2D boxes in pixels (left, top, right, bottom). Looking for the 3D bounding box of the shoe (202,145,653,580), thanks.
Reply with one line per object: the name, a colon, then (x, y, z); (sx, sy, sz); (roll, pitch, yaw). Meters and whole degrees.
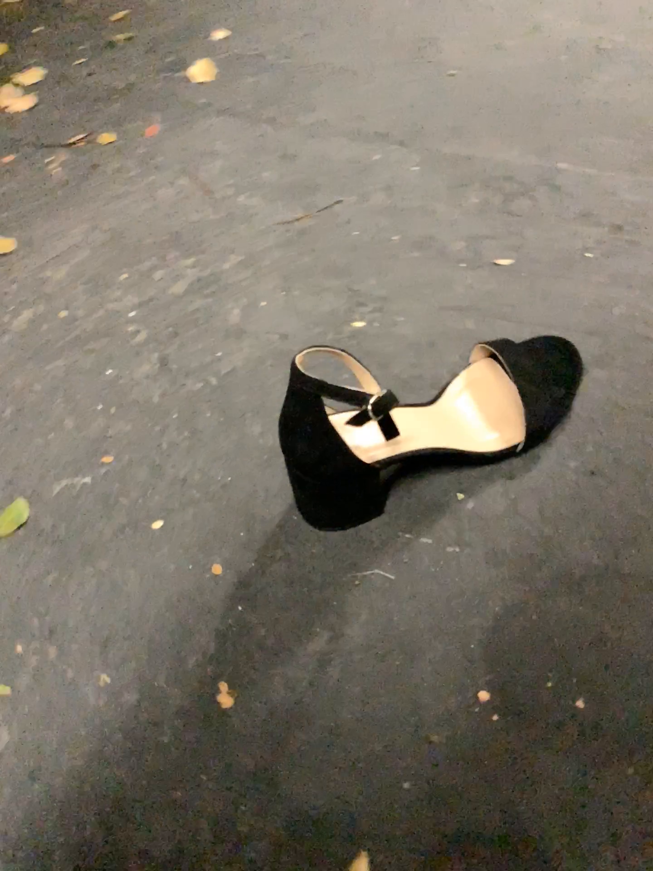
shoe: (0.081, -0.051, 0.479); (0.270, 0.140, 0.120); (-29, 51, -11)
